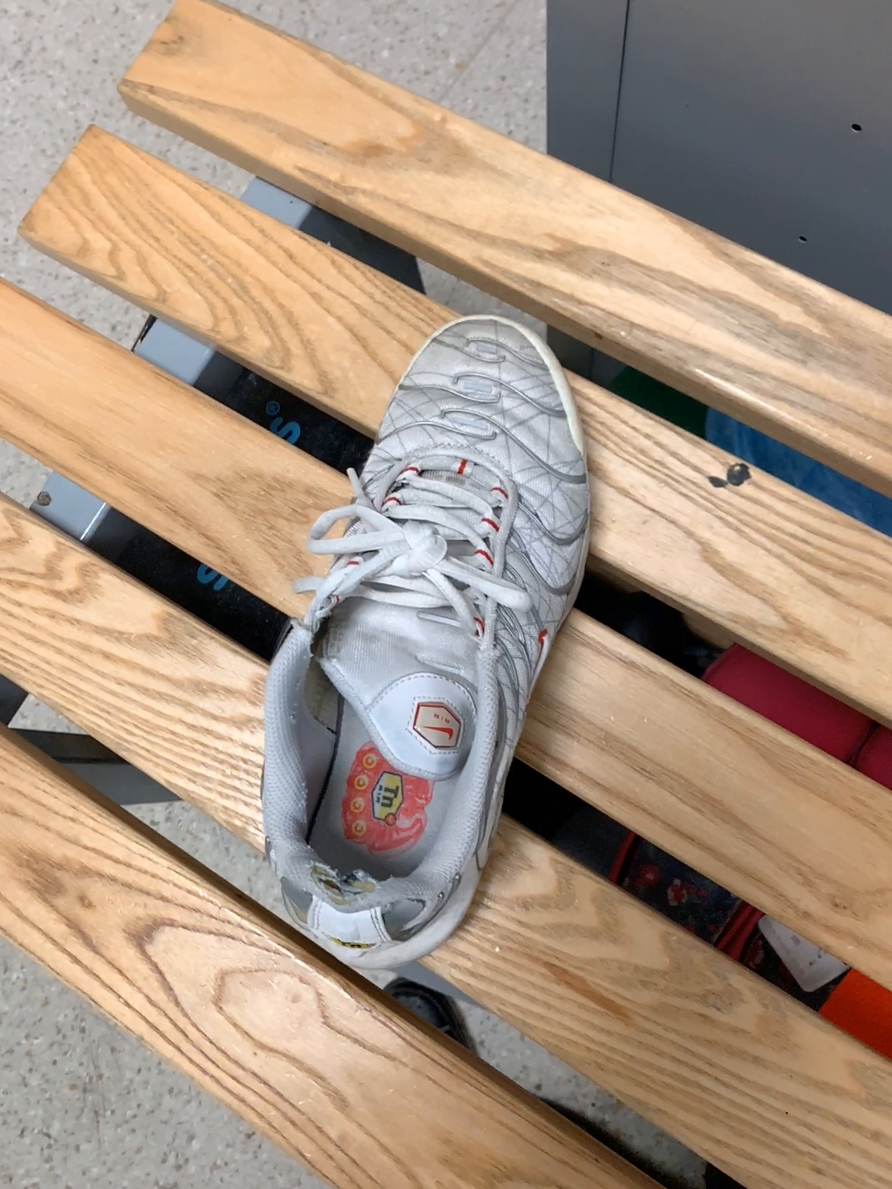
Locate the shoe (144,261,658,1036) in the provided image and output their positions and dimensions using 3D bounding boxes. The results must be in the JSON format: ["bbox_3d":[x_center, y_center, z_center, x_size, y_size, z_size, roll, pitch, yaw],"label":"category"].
[{"bbox_3d":[-0.006,0.016,0.339,0.100,0.105,0.227,15,80,9],"label":"shoe"}]
